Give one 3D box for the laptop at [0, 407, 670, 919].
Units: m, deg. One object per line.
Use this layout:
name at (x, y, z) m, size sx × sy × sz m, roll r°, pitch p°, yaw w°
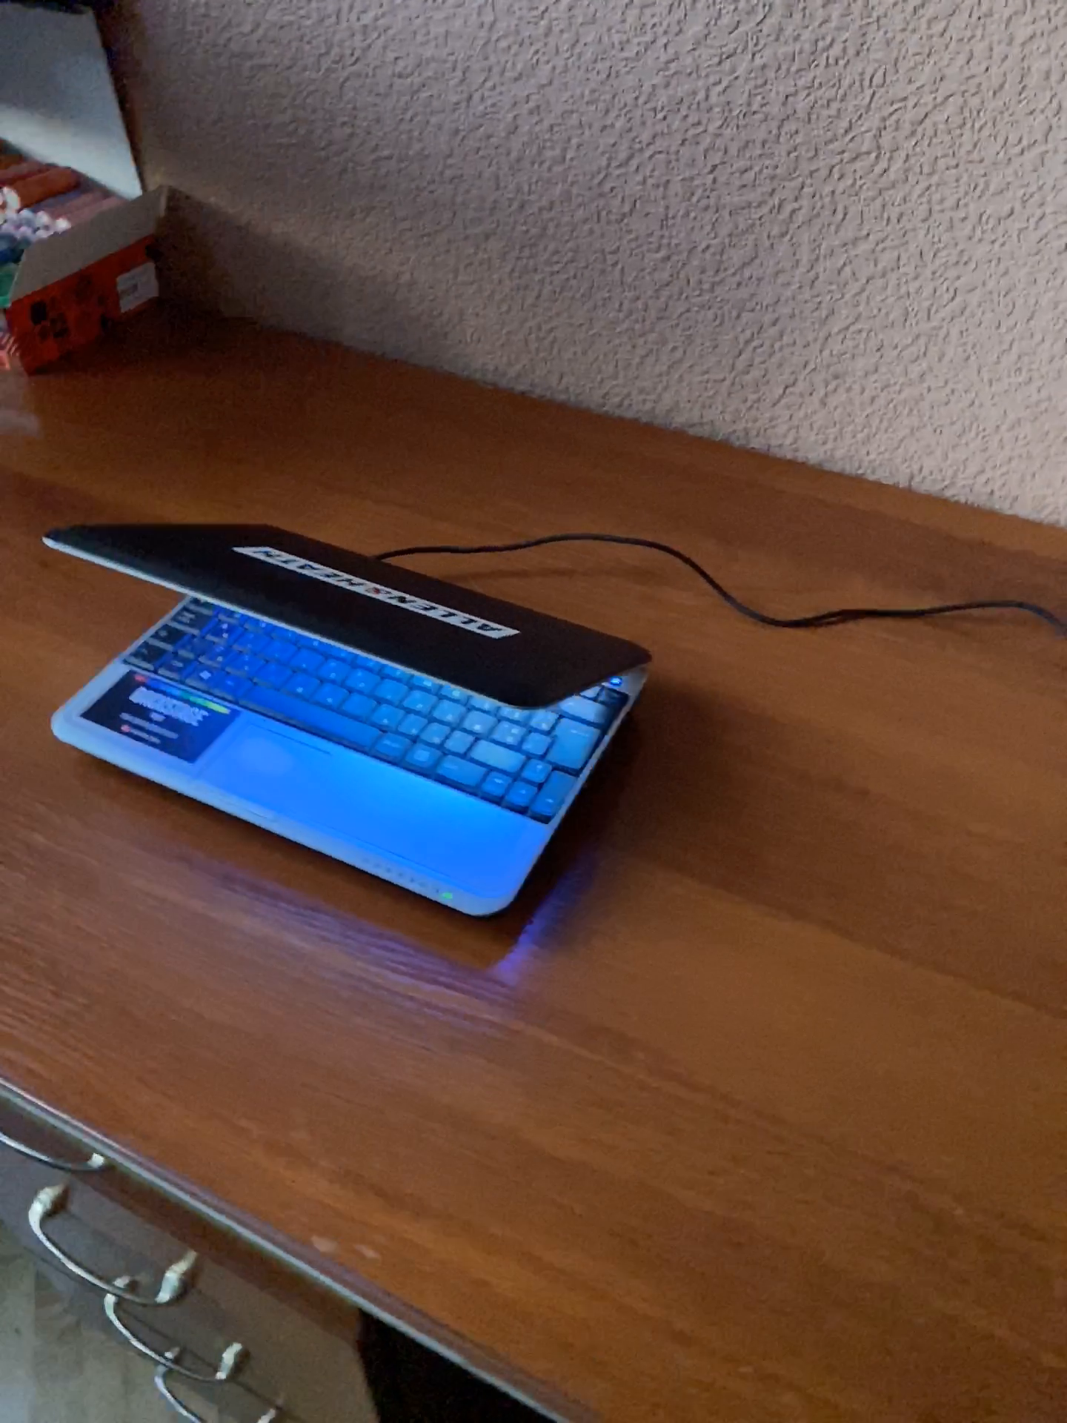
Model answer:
laptop at (-0.093, -0.040, 0.541) m, size 0.266 × 0.088 × 0.173 m, roll 19°, pitch 49°, yaw 20°
